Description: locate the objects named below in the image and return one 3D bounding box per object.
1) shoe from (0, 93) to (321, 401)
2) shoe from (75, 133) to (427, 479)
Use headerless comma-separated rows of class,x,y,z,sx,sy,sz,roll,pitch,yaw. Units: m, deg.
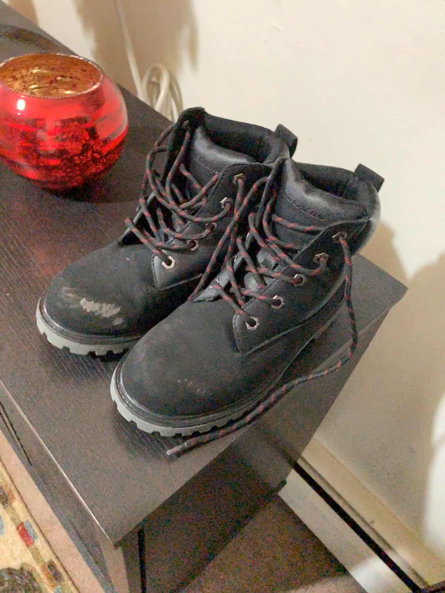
shoe,-0.046,-0.049,0.384,0.221,0.158,0.100,-31,60,-33
shoe,0.023,-0.002,0.356,0.231,0.158,0.100,-31,60,-33
